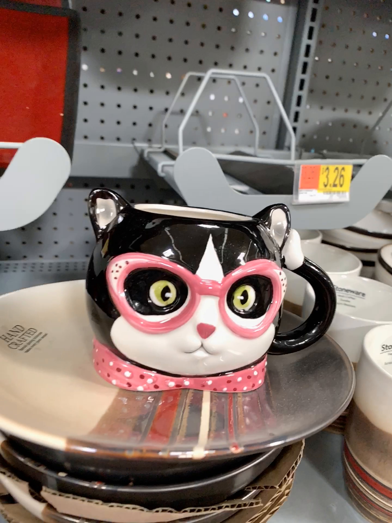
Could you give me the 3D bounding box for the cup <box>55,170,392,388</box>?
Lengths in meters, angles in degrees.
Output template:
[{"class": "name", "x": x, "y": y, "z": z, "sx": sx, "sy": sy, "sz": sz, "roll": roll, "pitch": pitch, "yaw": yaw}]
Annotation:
[{"class": "cup", "x": 0.012, "y": 0.003, "z": 0.213, "sx": 0.144, "sy": 0.074, "sz": 0.096, "roll": 2, "pitch": 22, "yaw": -9}]
